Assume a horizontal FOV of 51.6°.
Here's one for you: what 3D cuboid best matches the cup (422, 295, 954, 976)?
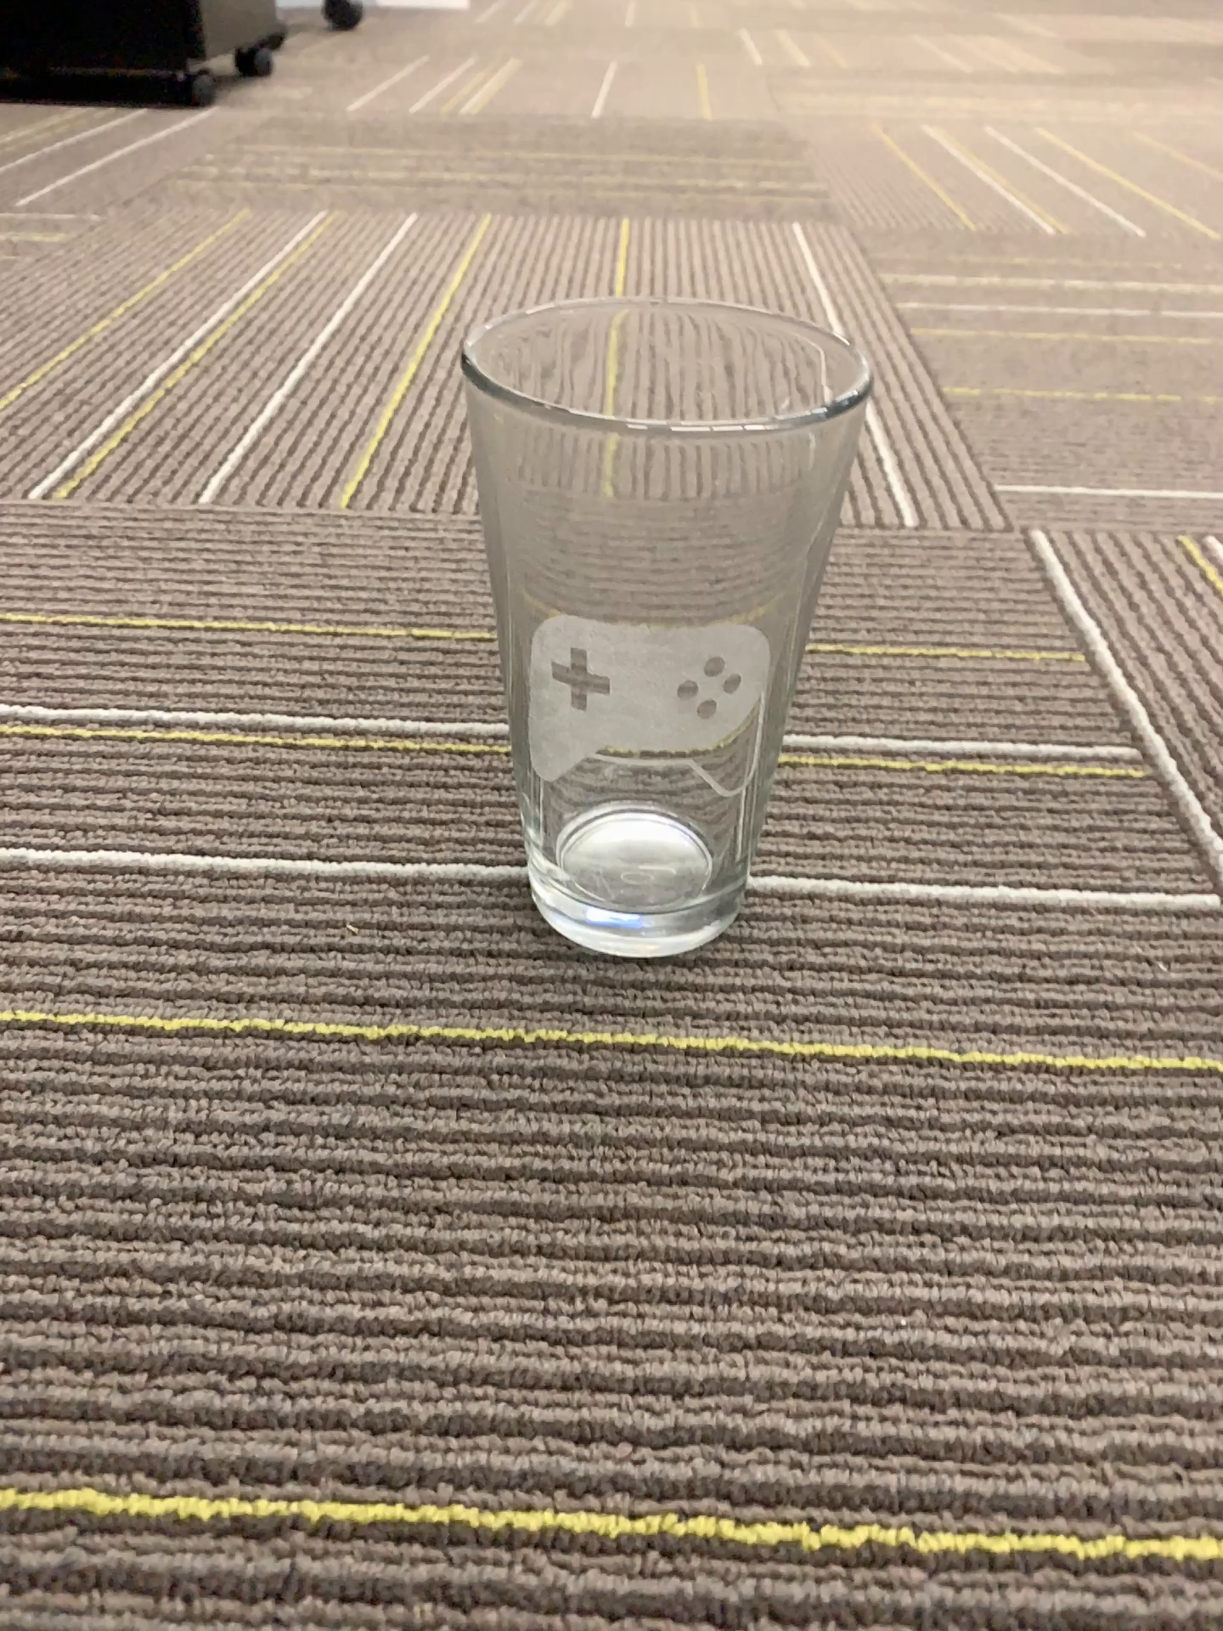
[{"bbox_3d":[0.008,-0.043,0.286,0.090,0.119,0.091,1,36,-1],"label":"cup"}]
